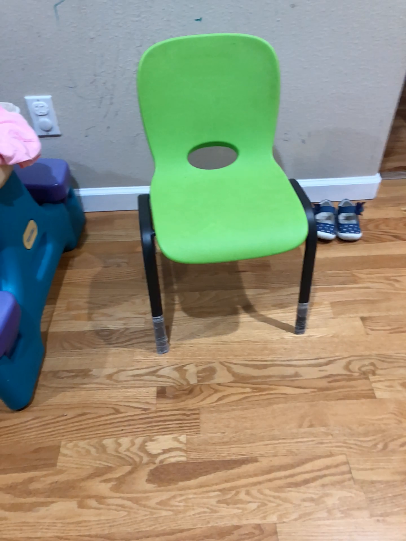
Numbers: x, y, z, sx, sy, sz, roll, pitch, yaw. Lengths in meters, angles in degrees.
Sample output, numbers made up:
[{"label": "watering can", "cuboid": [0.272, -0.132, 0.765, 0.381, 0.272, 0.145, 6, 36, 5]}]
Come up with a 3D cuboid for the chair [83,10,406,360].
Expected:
[{"label": "chair", "cuboid": [0.065, -0.191, 0.995, 0.510, 0.557, 0.483, -6, 44, -4]}]
